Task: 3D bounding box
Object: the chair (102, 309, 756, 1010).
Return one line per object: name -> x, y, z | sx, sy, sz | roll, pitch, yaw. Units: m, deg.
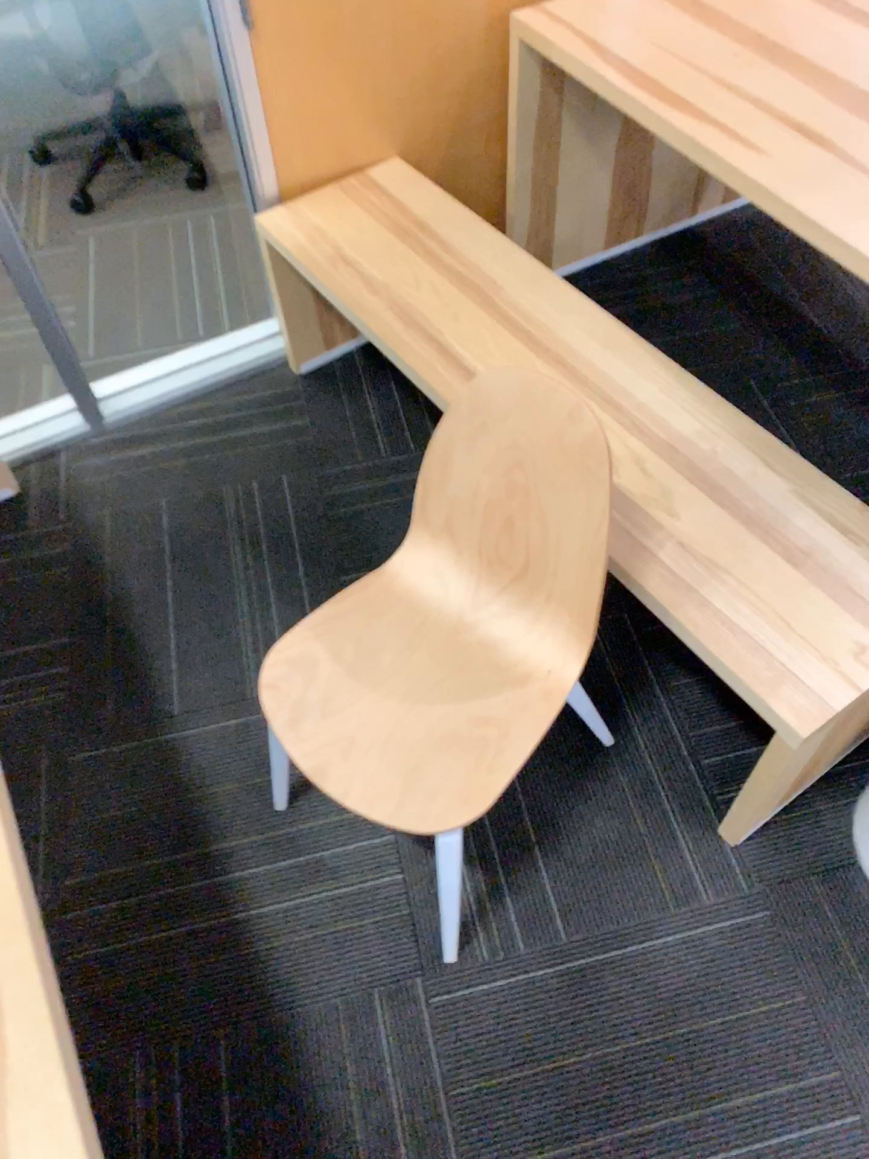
chair -> 0.018, 0.168, 1.409 | 0.542, 0.837, 0.601 | 34, 63, 25
